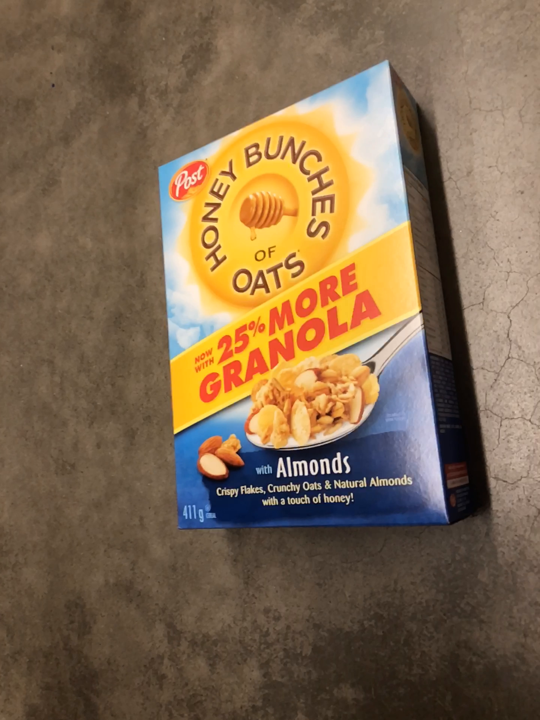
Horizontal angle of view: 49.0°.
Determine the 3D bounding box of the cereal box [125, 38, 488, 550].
[{"bbox_3d":[0.008,-0.024,0.380,0.201,0.060,0.270,-12,79,32],"label":"cereal box"}]
